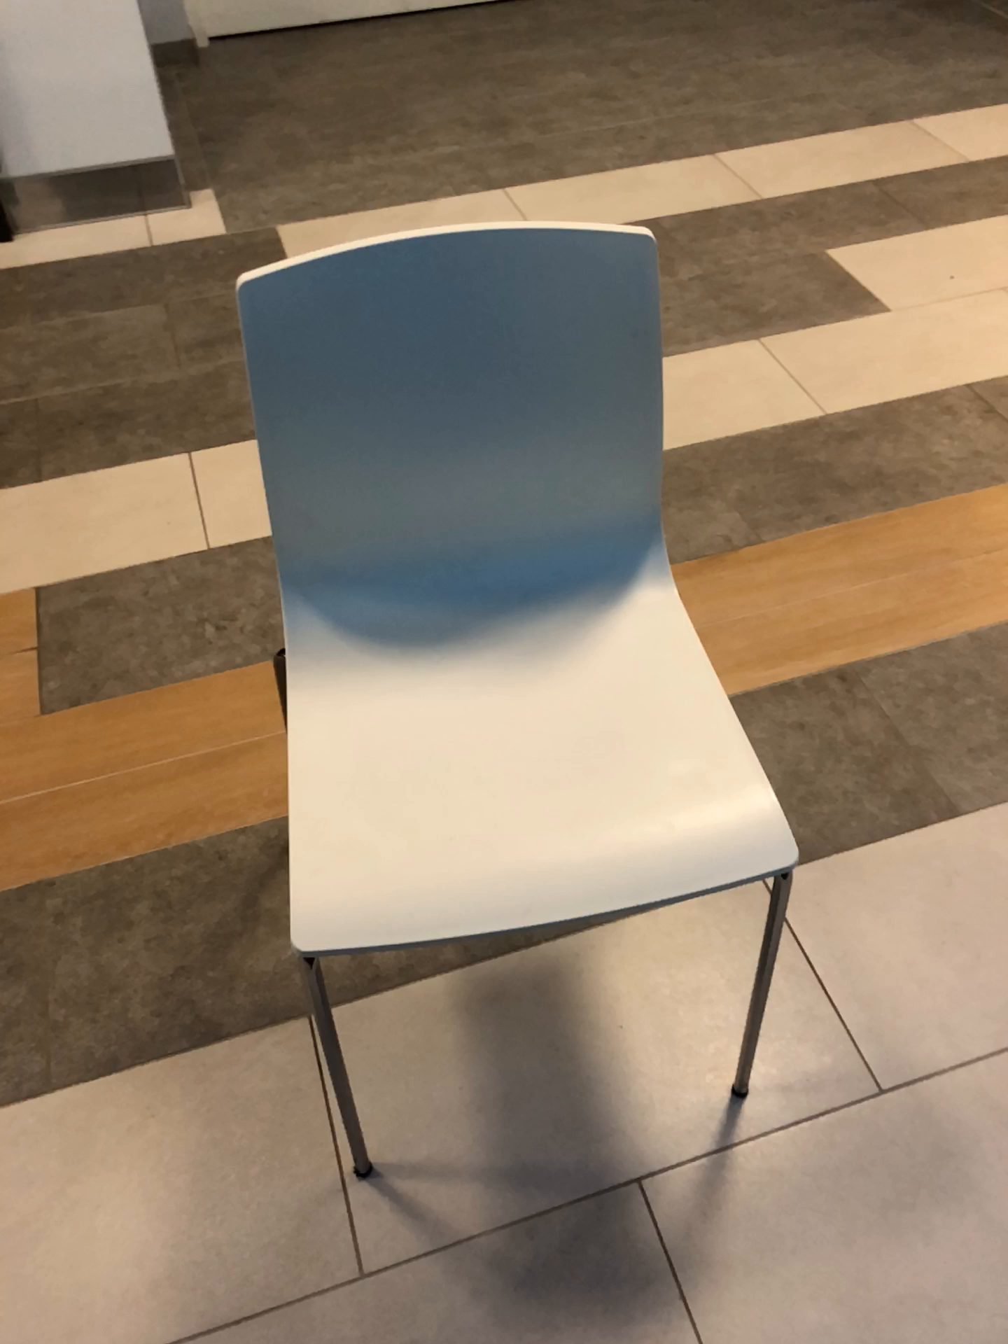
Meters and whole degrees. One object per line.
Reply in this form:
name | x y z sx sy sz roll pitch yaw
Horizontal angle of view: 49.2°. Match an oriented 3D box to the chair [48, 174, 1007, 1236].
chair | -0.001 0.058 1.063 0.580 0.776 0.553 -11 47 -8
